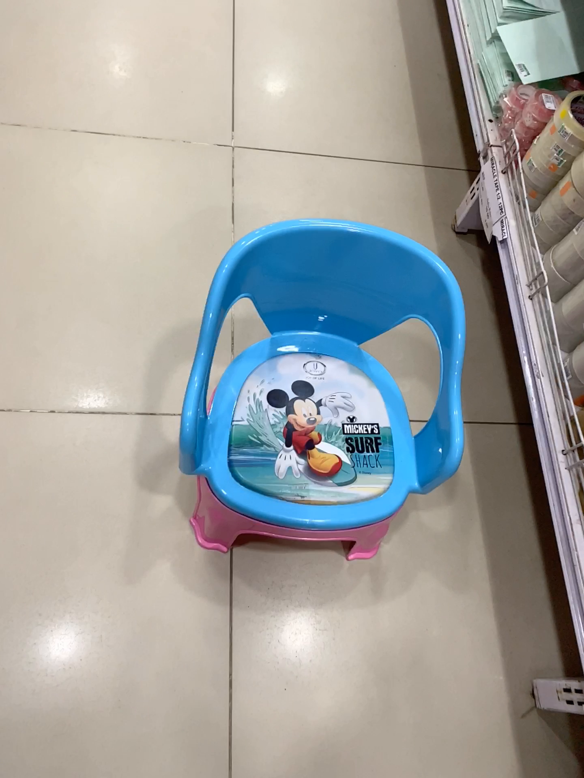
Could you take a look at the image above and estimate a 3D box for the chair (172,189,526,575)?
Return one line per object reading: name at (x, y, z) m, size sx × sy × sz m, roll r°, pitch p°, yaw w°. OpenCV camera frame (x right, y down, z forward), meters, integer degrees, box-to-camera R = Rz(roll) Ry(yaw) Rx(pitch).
chair at (0.045, 0.019, 0.797) m, size 0.350 × 0.320 × 0.390 m, roll 6°, pitch 66°, yaw -7°
